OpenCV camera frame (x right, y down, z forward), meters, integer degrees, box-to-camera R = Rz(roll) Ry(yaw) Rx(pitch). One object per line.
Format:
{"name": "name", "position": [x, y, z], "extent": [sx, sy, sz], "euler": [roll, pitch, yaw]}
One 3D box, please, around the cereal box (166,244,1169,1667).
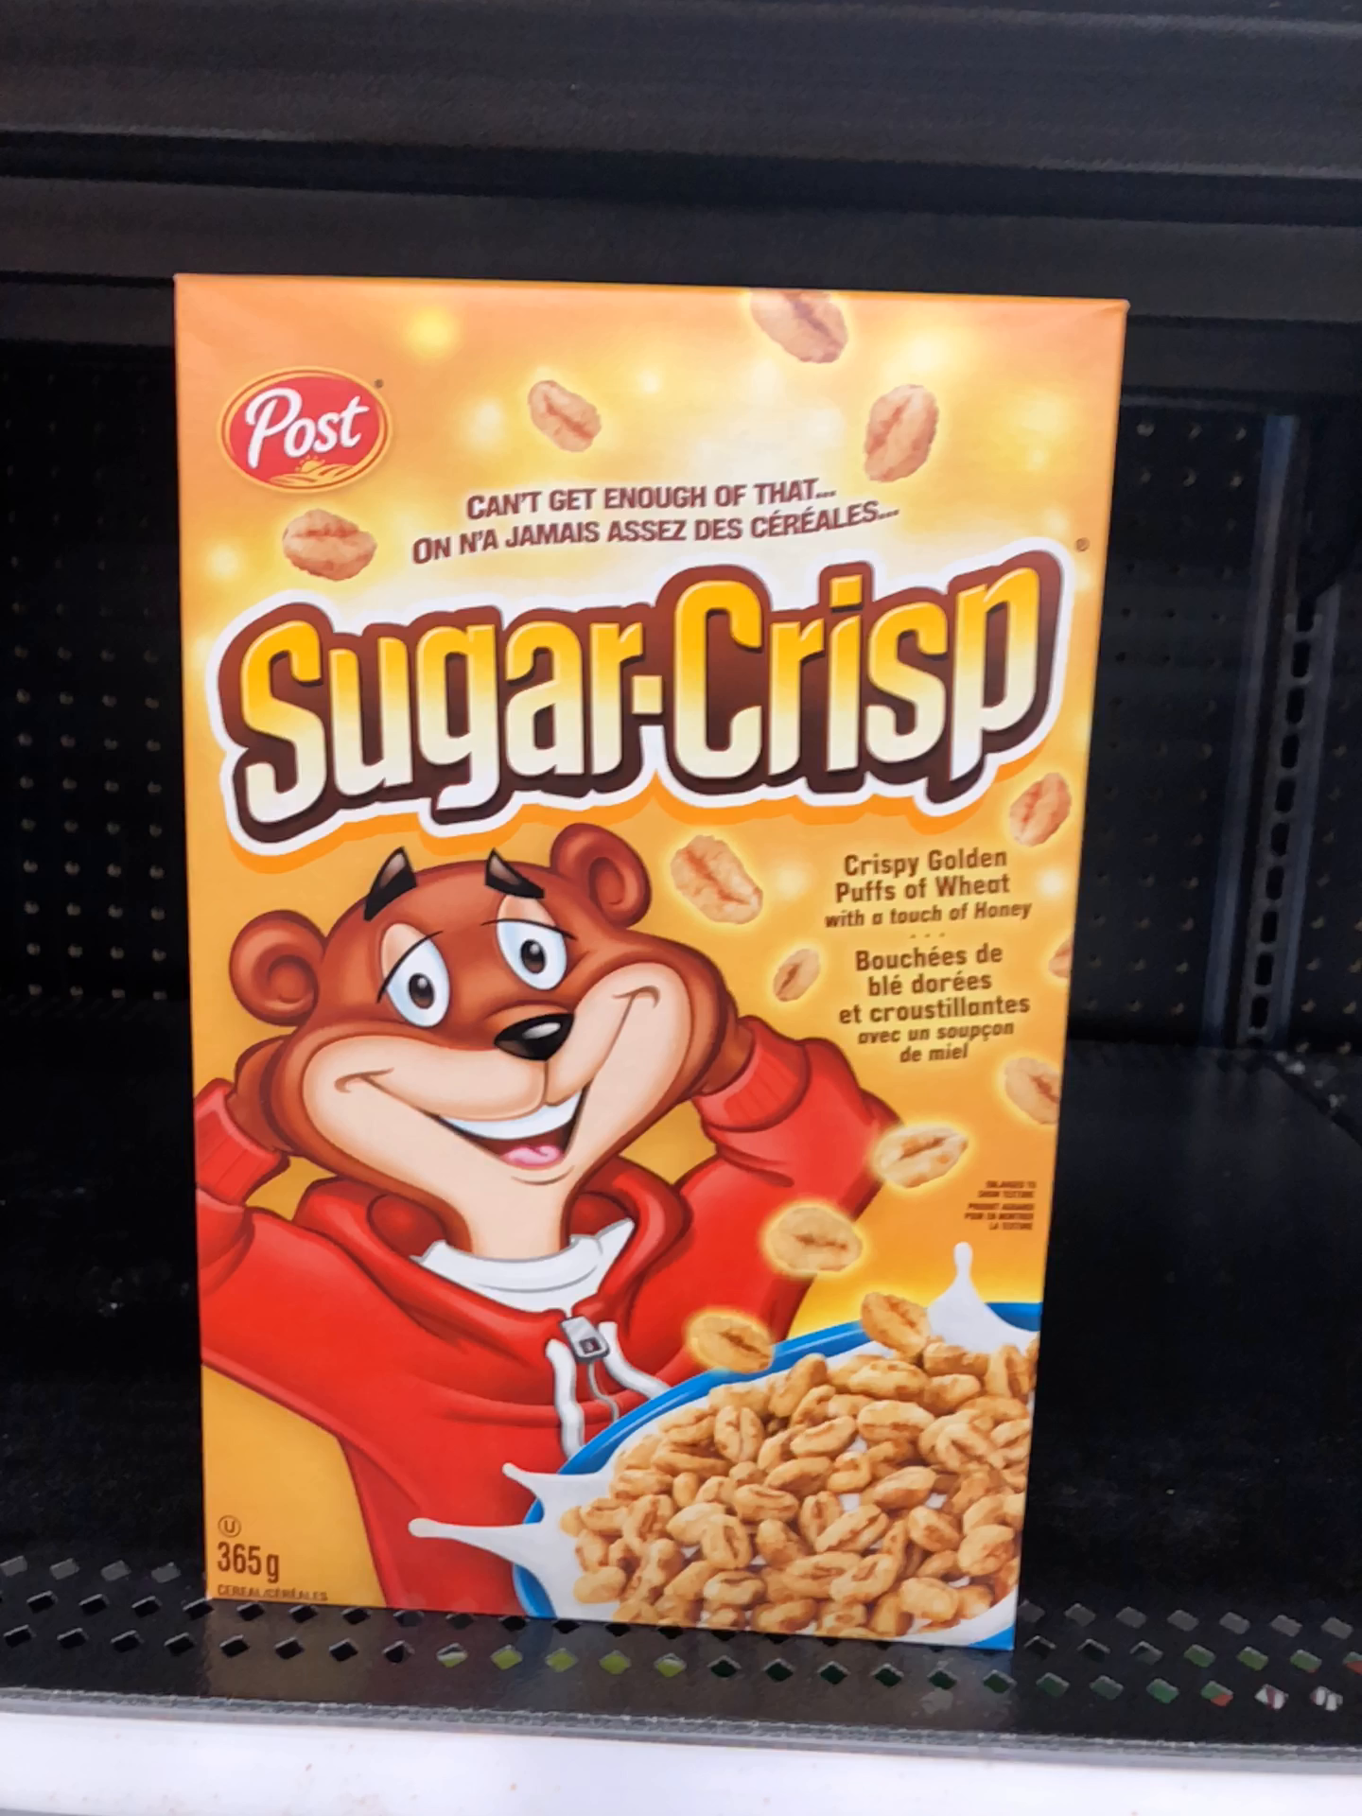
{"name": "cereal box", "position": [-0.008, 0.016, 0.359], "extent": [0.200, 0.309, 0.060], "euler": [3, 11, 3]}
